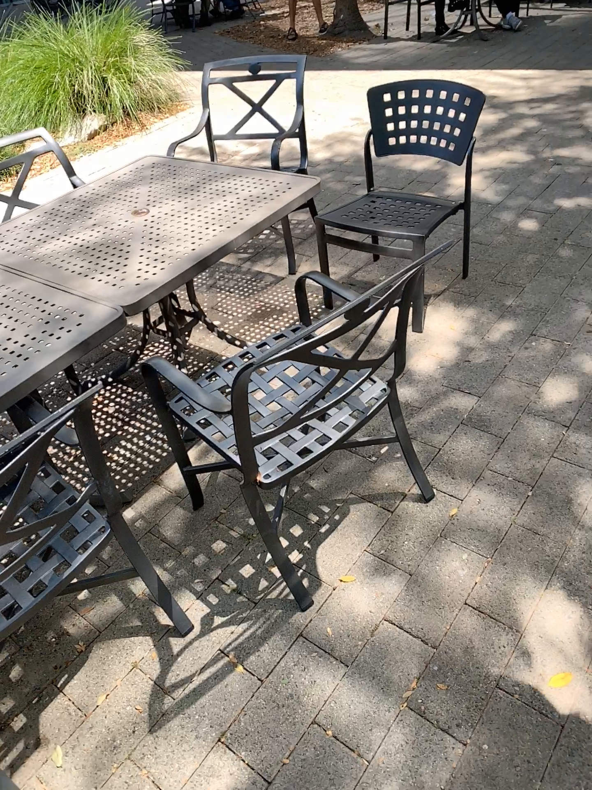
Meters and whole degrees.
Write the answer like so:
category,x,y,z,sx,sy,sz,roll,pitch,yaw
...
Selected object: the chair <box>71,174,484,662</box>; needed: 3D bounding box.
category,x,y,z,sx,sy,sz,roll,pitch,yaw
chair,-0.004,0.037,1.548,0.631,0.885,0.613,-34,46,-28
